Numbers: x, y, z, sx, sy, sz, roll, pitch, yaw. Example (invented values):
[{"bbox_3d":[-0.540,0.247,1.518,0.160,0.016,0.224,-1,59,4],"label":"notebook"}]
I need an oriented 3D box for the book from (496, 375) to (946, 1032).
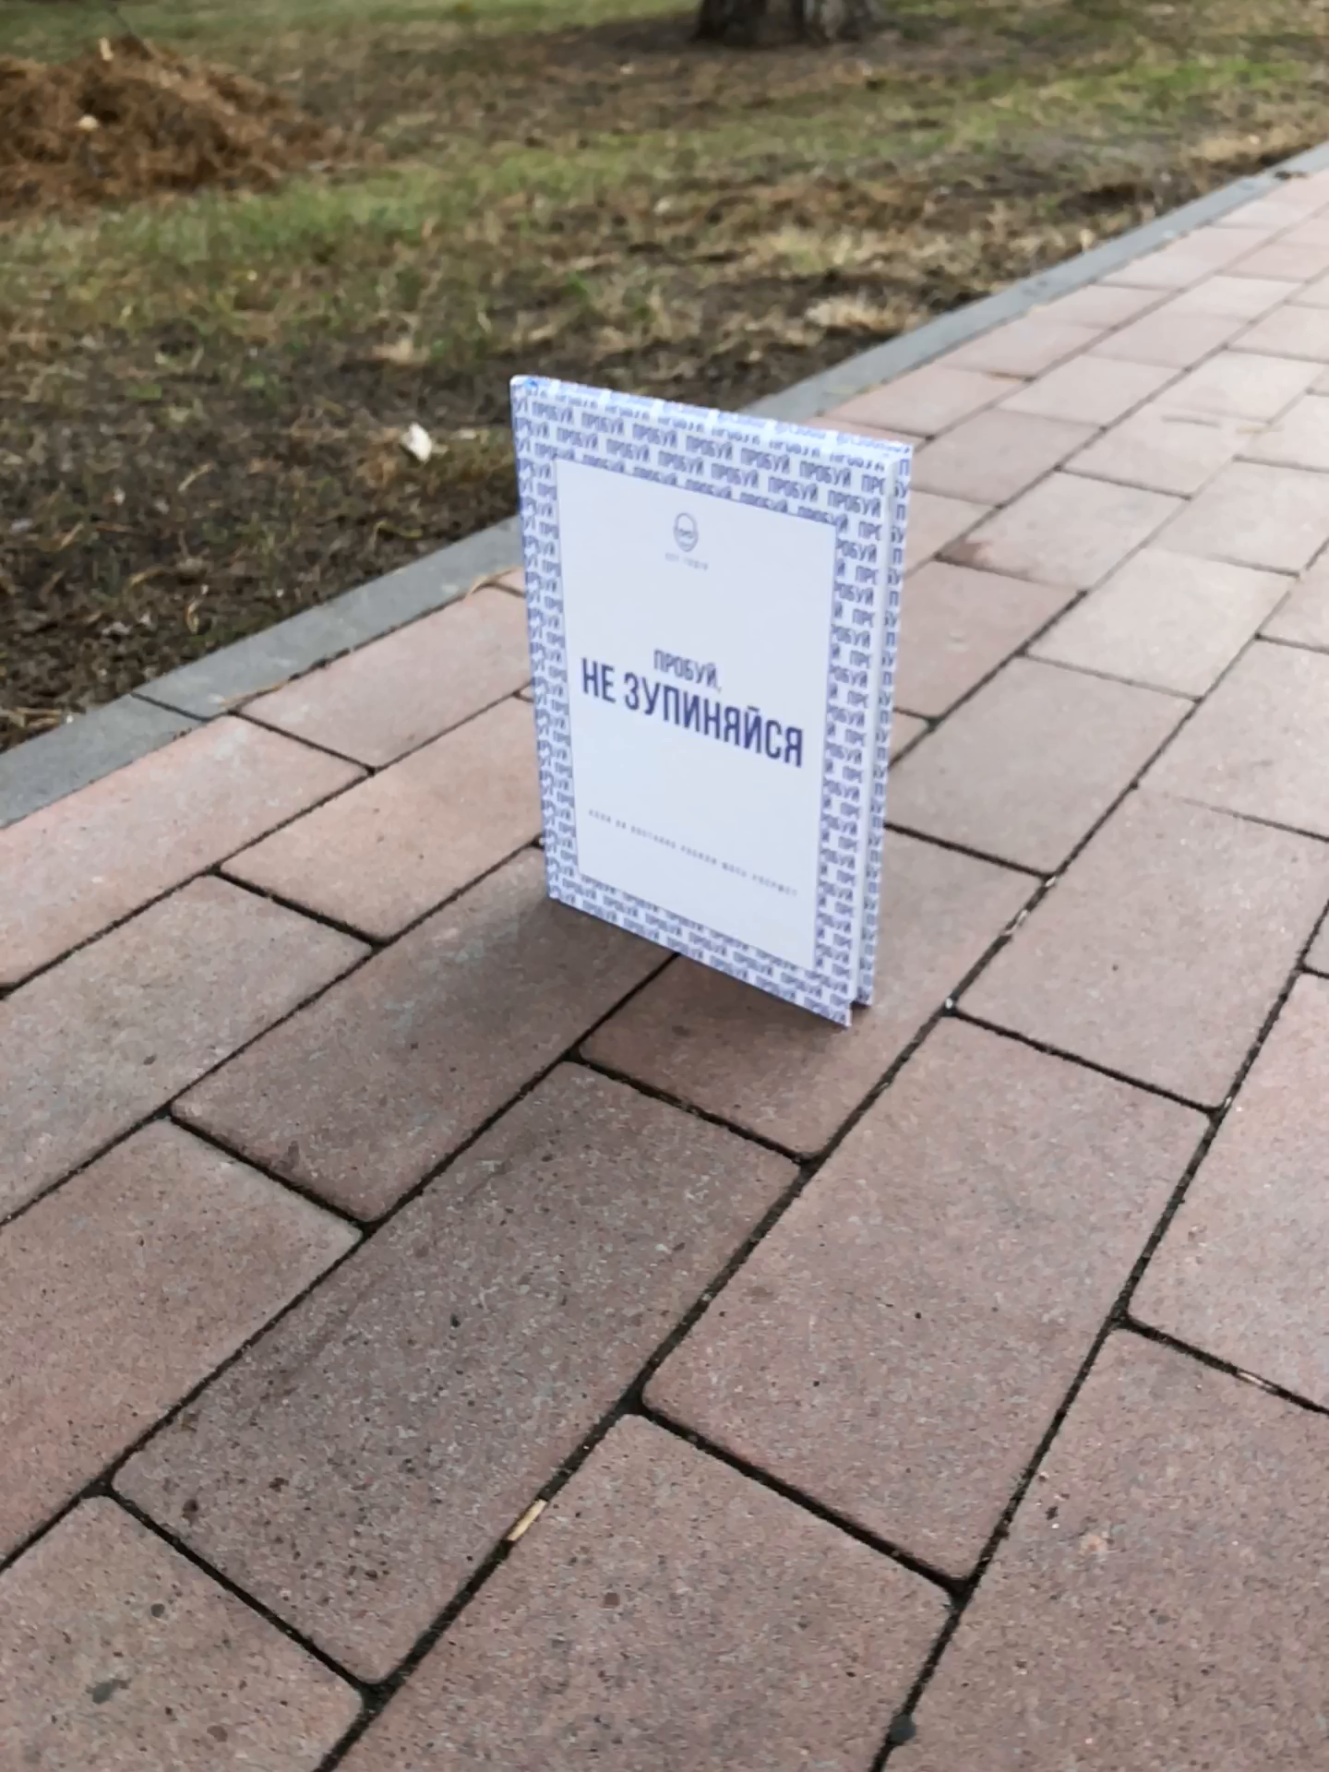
[{"bbox_3d":[0.014,-0.061,0.501,0.151,0.196,0.022,21,38,30],"label":"book"}]
